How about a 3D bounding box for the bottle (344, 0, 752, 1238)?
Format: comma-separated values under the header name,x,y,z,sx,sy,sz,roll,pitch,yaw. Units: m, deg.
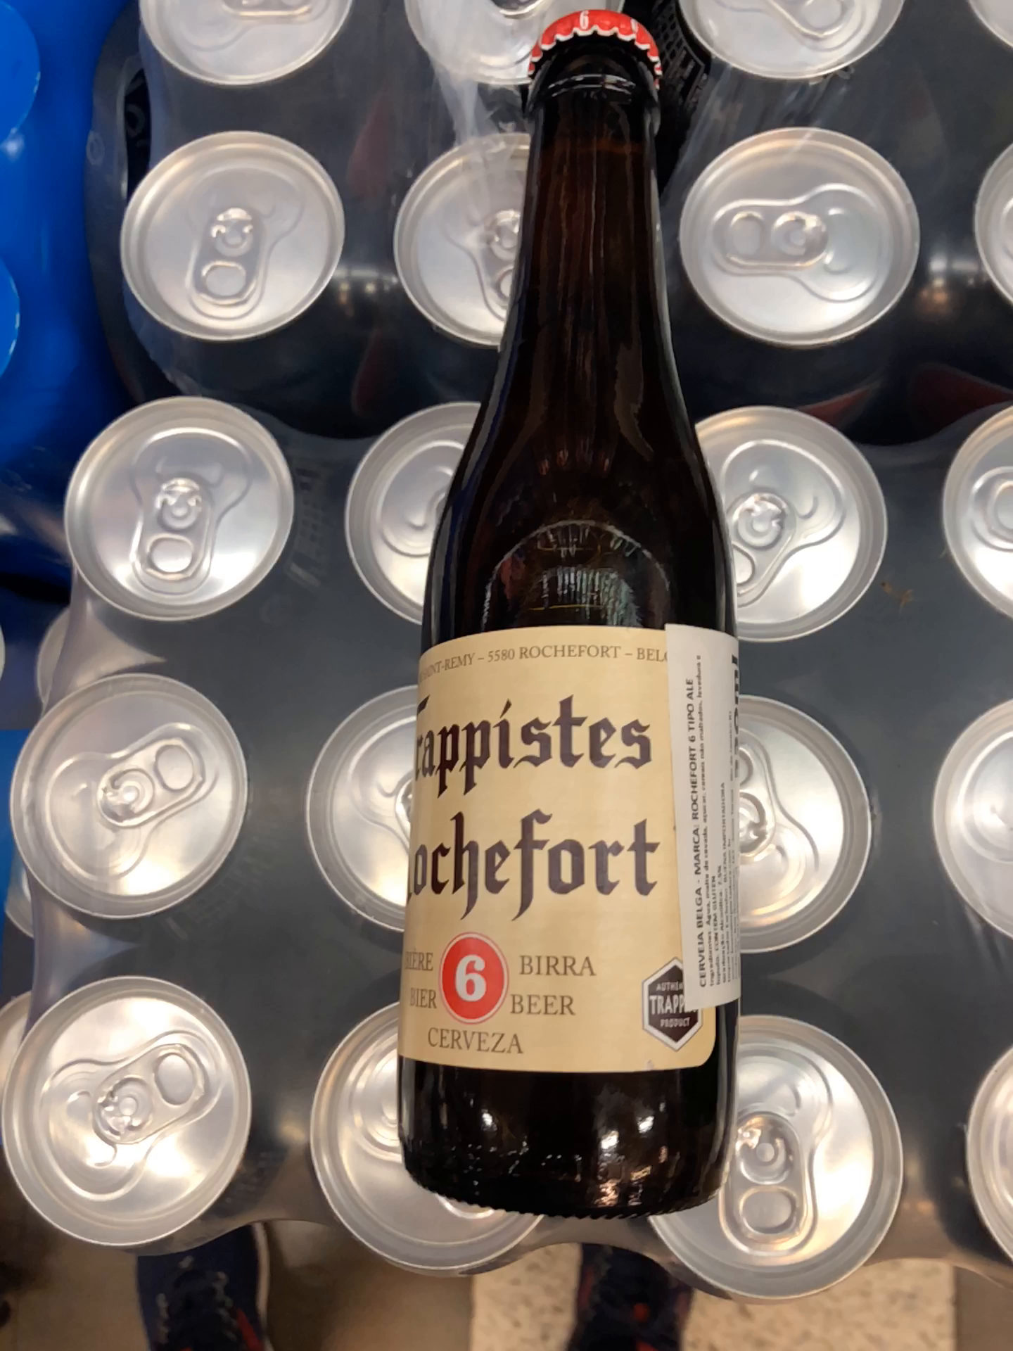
name,x,y,z,sx,sy,sz,roll,pitch,yaw
bottle,0.011,-0.032,0.213,0.060,0.050,0.240,1,80,5
